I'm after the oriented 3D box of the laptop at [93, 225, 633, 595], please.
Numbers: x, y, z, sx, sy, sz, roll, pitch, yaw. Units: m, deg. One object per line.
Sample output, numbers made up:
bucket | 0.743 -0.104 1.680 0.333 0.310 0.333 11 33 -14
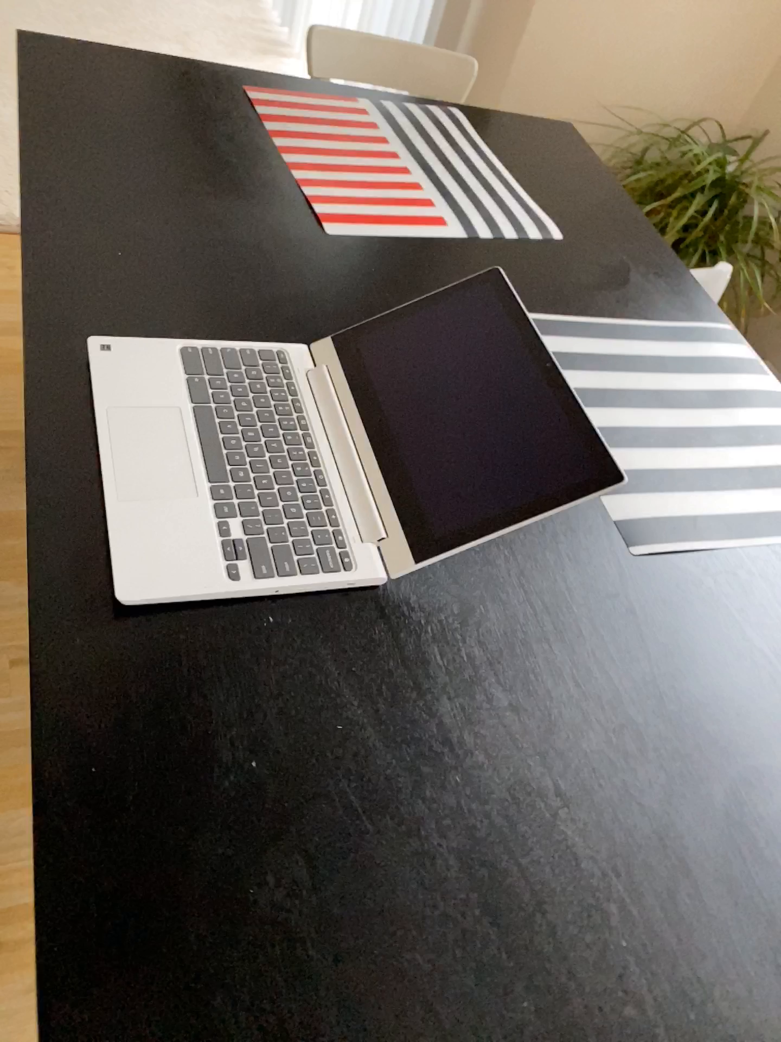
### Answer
laptop | -0.037 -0.104 0.672 0.380 0.106 0.286 -4 53 -23
